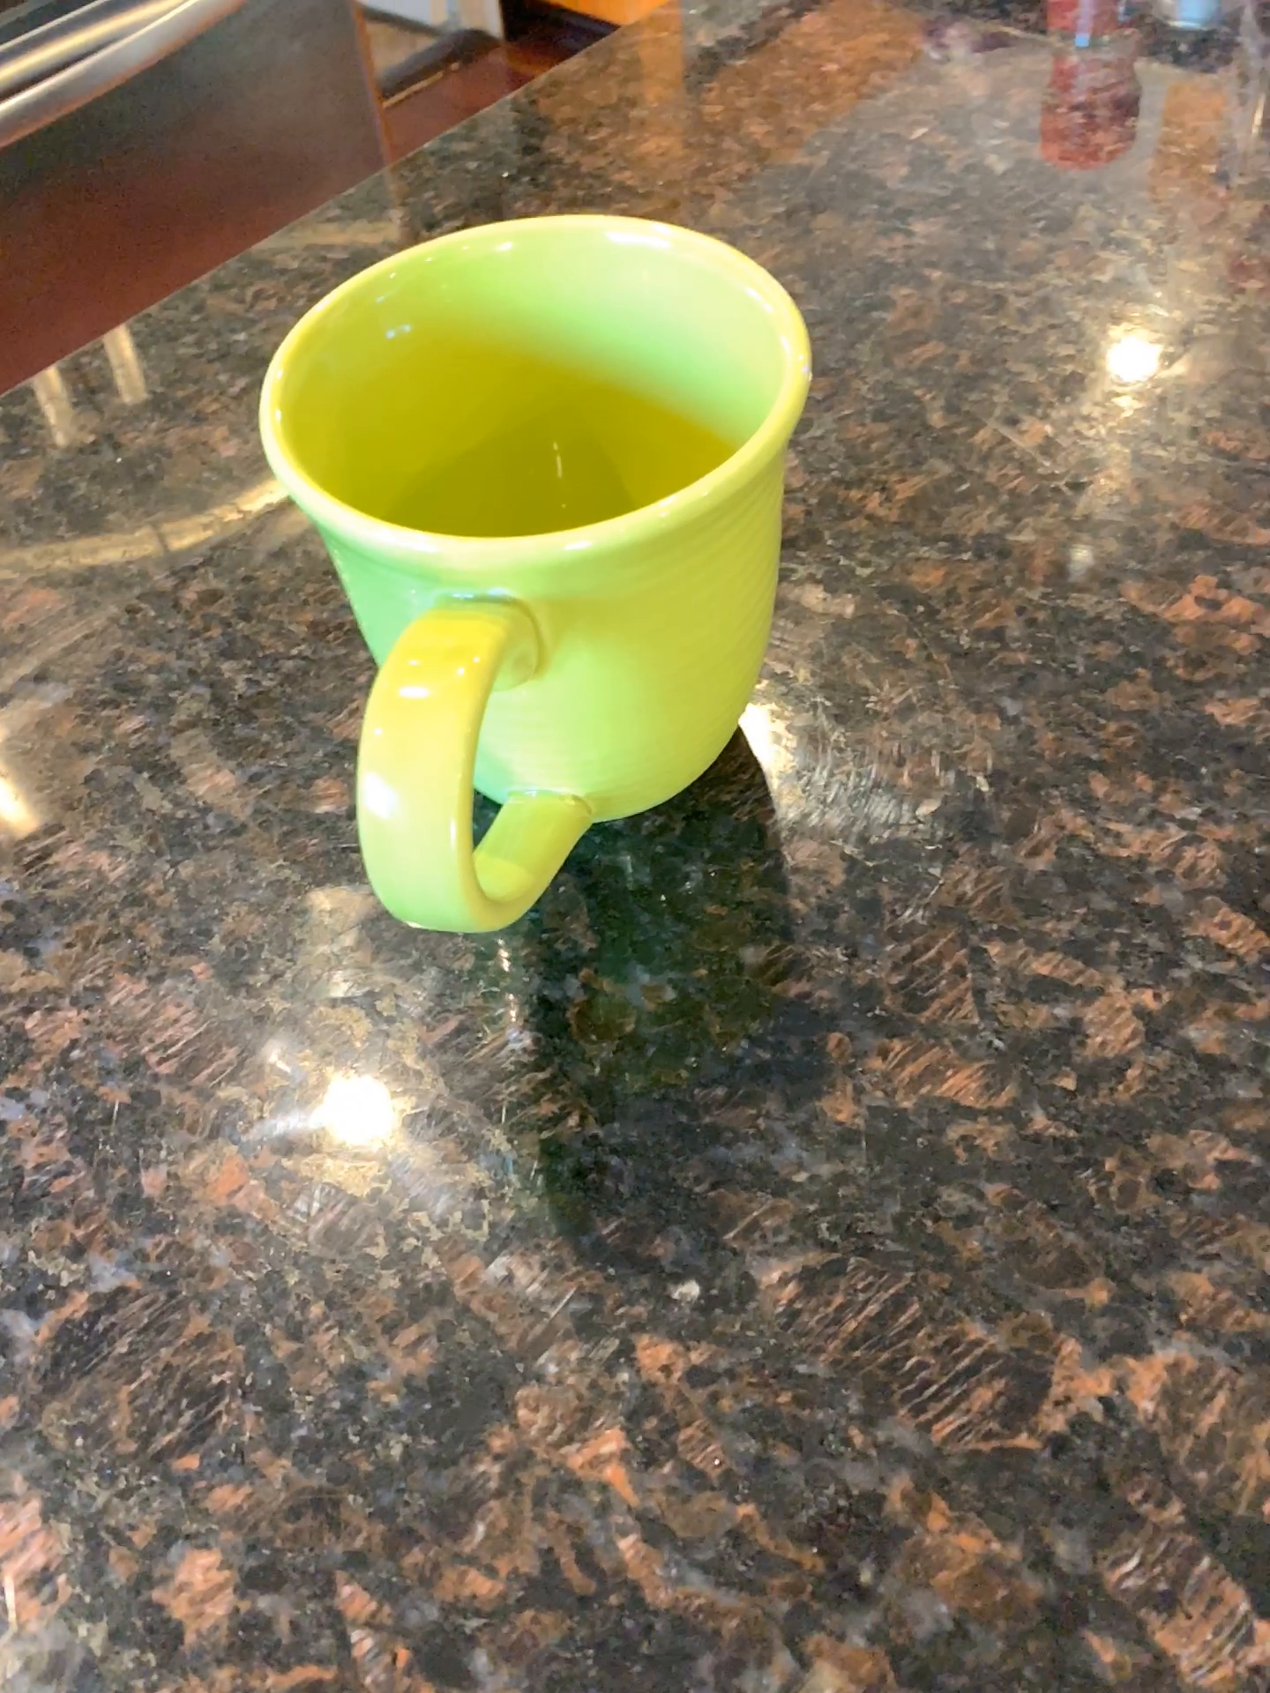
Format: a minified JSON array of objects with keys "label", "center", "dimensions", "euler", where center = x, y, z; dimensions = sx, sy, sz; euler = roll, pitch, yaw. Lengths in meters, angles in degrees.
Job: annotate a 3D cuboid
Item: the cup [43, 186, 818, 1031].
[{"label":"cup","center":[-0.022,-0.052,0.262],"dimensions":[0.110,0.080,0.151],"euler":[2,54,7]}]
